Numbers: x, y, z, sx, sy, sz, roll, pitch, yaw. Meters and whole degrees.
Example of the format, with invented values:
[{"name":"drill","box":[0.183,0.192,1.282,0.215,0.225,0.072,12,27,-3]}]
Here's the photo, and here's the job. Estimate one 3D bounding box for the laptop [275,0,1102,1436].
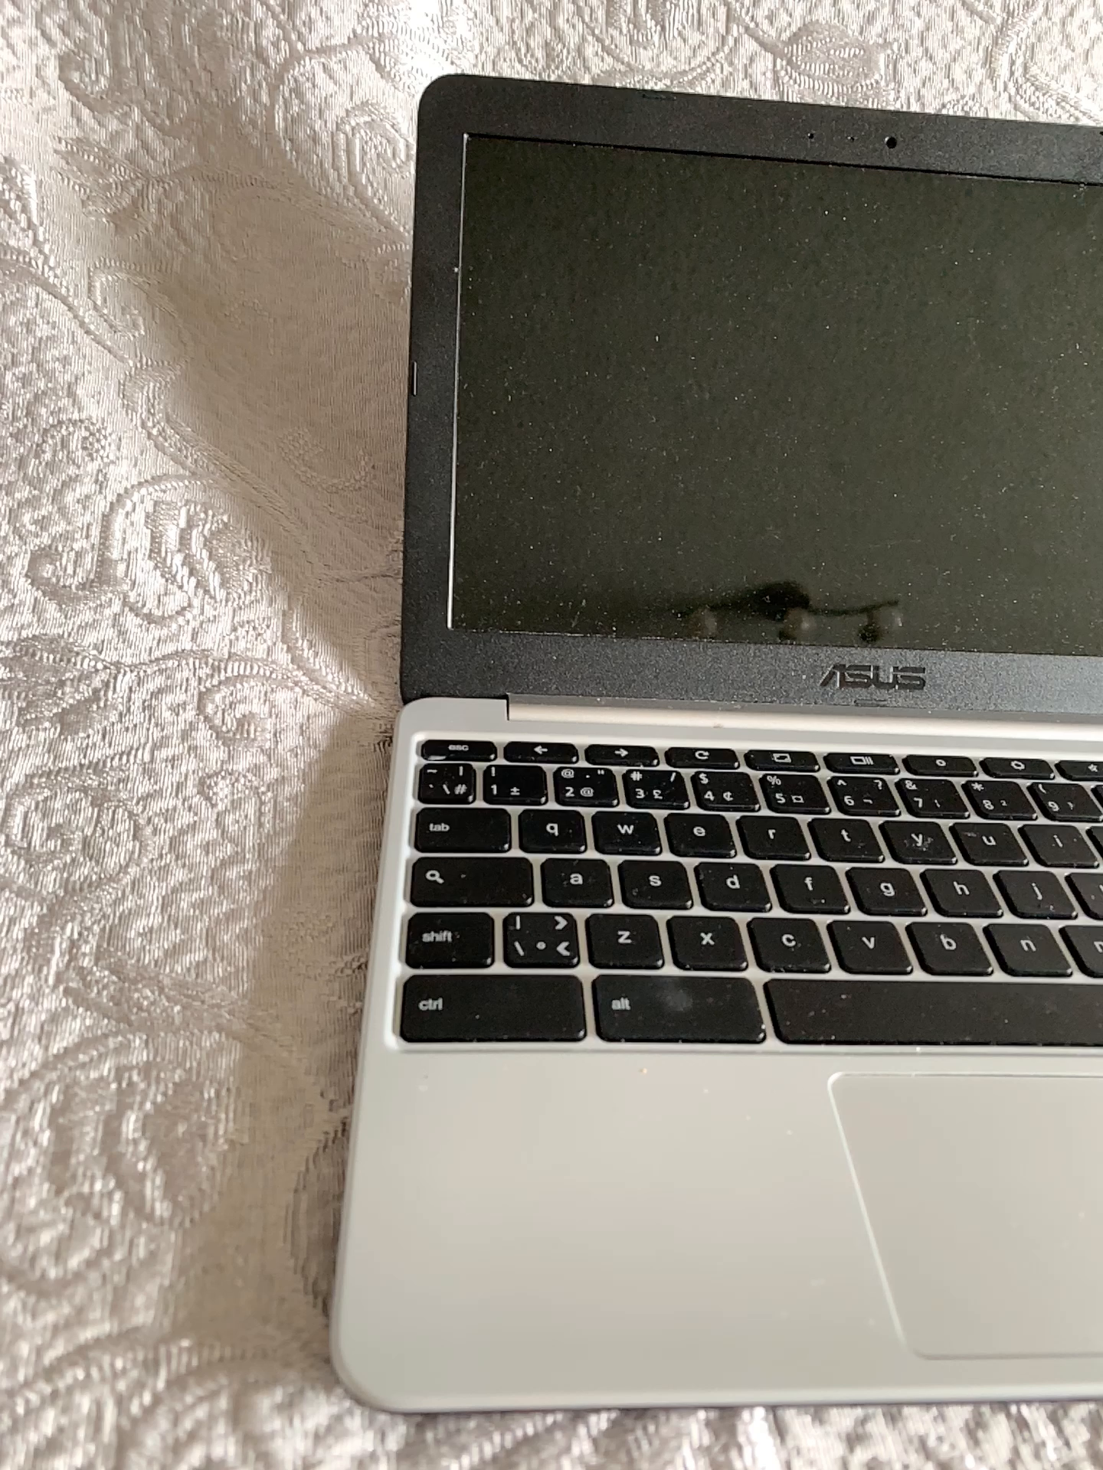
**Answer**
[{"name":"laptop","box":[0.100,-0.040,0.263,0.288,0.127,0.288,3,42,-12]}]
